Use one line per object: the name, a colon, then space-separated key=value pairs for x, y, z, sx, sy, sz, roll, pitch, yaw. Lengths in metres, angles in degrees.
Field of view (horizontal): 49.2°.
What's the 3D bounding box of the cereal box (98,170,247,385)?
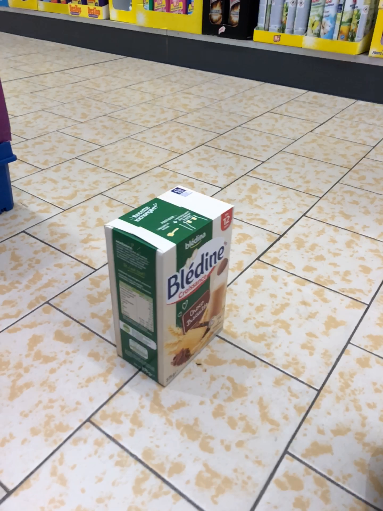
cereal box: x=-0.017 y=0.021 z=0.460 sx=0.080 sy=0.179 sz=0.131 roll=25 pitch=41 yaw=30
